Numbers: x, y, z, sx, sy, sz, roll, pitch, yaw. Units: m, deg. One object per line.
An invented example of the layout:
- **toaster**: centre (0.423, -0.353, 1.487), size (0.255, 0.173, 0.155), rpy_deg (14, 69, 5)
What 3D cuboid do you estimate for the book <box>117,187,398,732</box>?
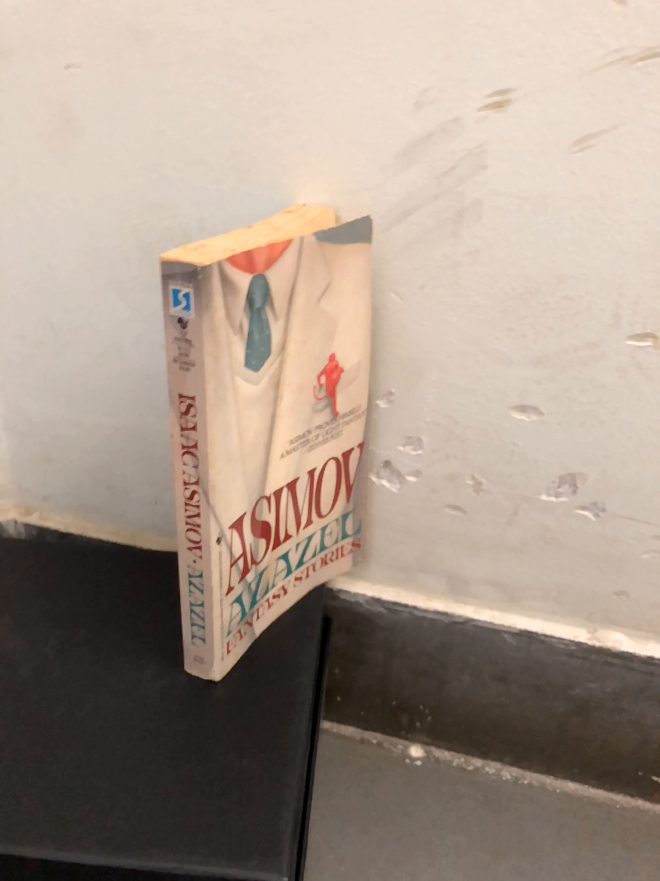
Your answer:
- **book**: centre (-0.017, 0.000, 0.321), size (0.030, 0.189, 0.151), rpy_deg (13, 29, 25)
